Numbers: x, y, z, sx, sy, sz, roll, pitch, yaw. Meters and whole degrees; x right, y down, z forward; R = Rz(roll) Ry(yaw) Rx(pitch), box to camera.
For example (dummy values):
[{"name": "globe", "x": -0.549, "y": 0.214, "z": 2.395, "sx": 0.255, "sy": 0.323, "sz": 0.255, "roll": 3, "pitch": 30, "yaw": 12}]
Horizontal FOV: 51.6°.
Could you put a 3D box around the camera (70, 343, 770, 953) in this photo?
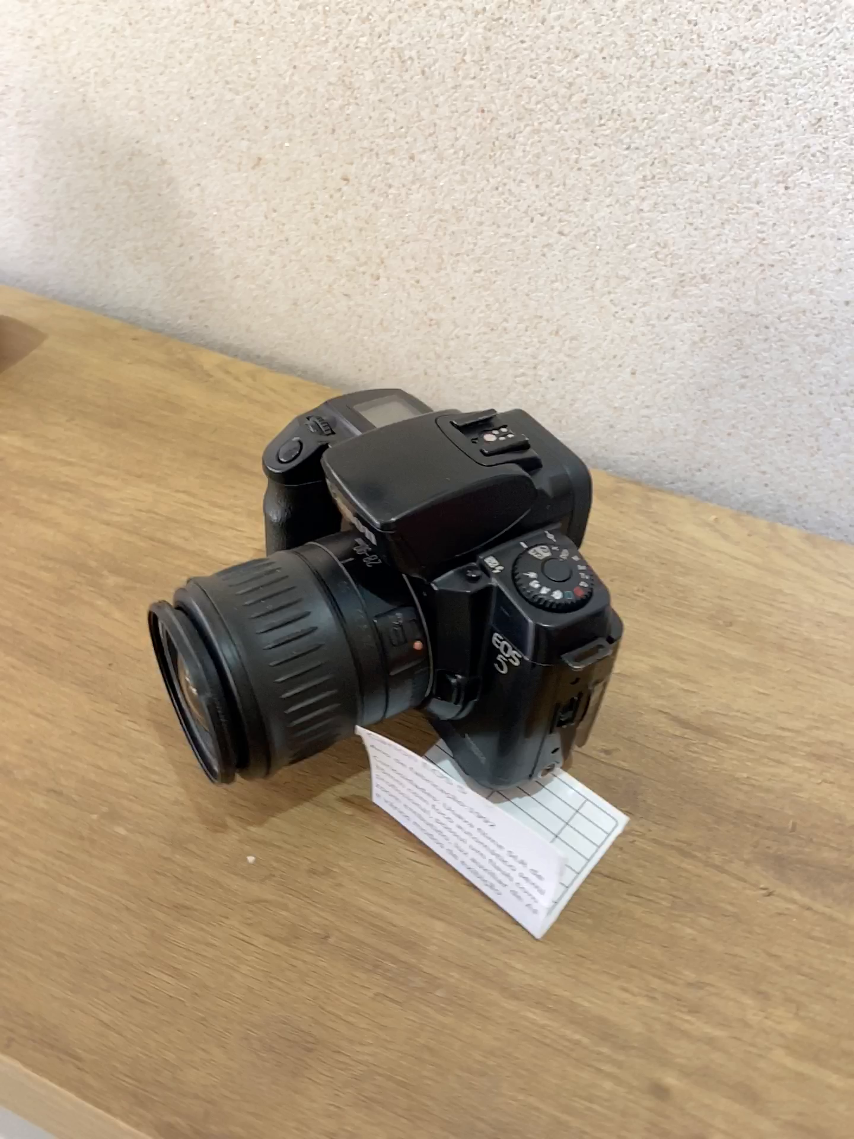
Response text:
[{"name": "camera", "x": -0.006, "y": 0.008, "z": 0.328, "sx": 0.181, "sy": 0.079, "sz": 0.161, "roll": -24, "pitch": 50, "yaw": -28}]
